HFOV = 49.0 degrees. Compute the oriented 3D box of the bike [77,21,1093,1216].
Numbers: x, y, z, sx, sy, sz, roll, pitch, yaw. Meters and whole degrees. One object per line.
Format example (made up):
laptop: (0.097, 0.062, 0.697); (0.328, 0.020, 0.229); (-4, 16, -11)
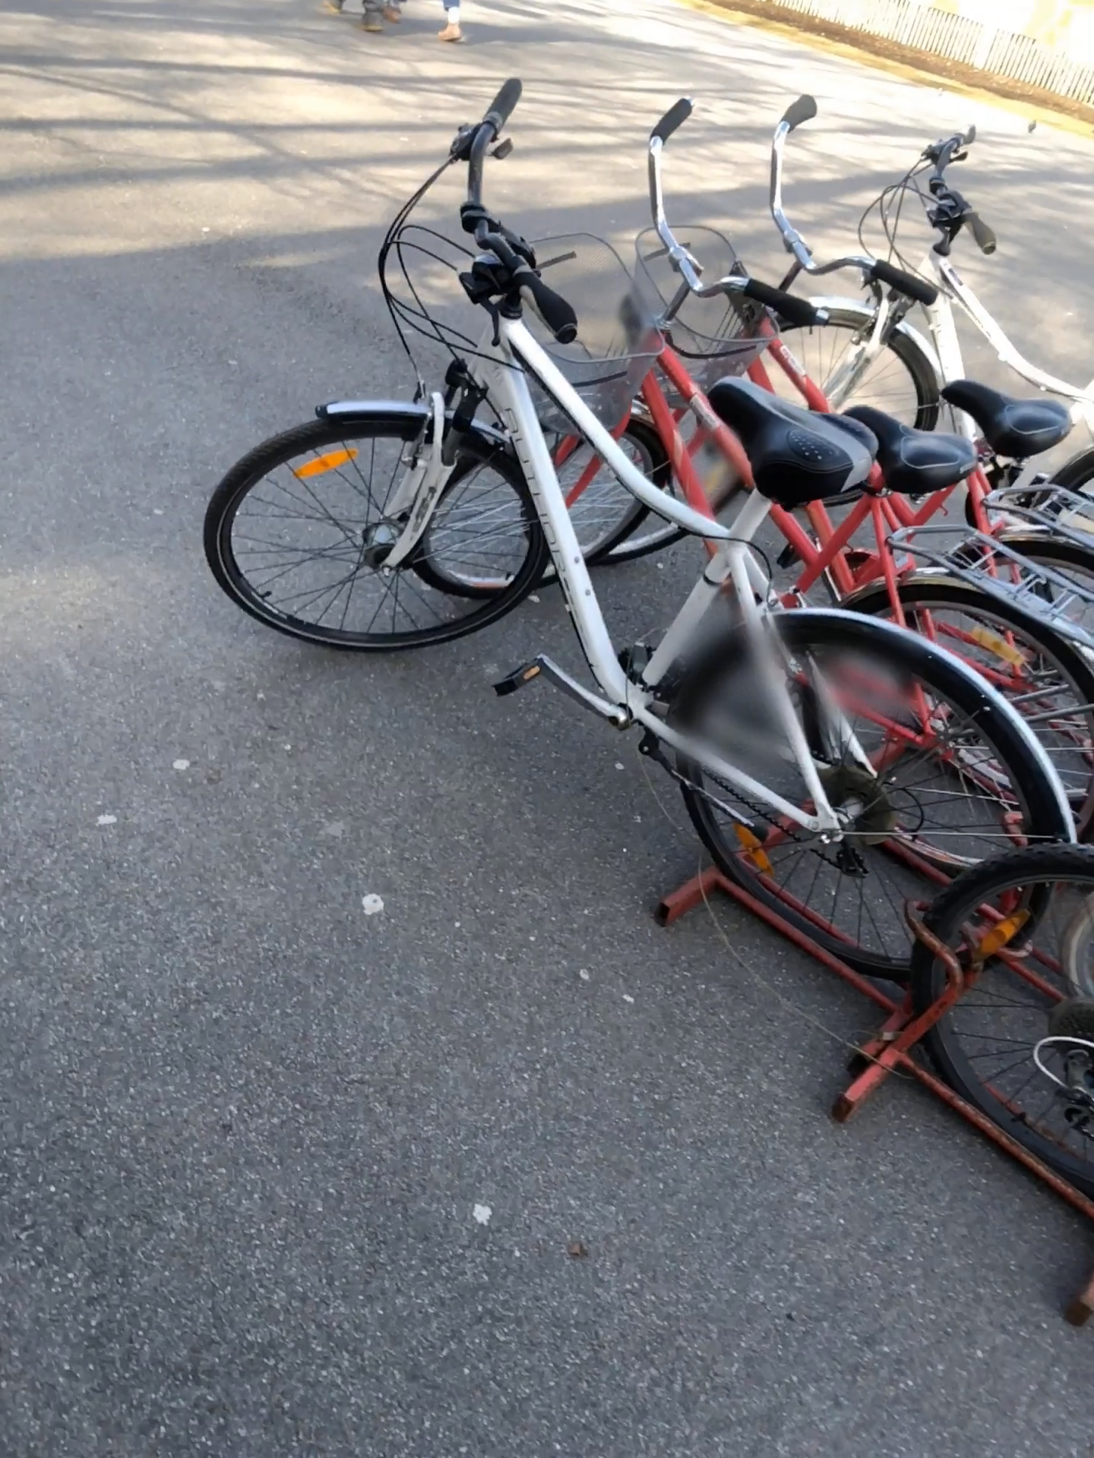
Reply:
bike: (0.111, -0.225, 1.898); (1.601, 1.164, 0.622); (27, 35, 16)
